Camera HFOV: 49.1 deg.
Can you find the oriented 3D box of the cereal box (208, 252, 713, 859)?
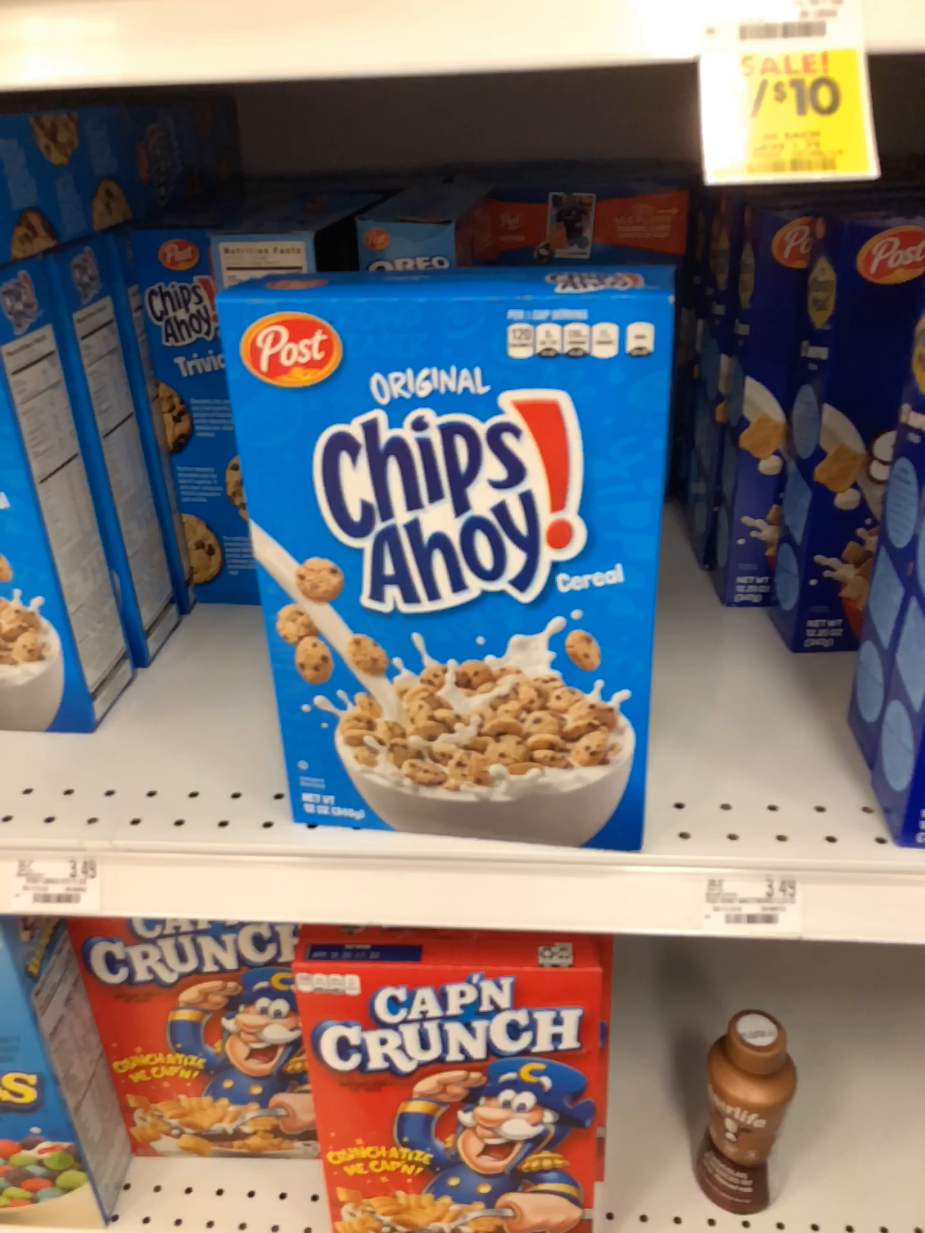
[{"bbox_3d":[0.006,-0.025,0.468,0.190,0.259,0.080,3,27,10],"label":"cereal box"}]
